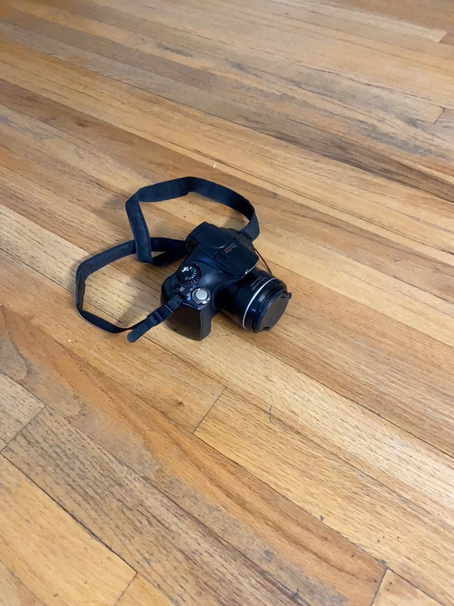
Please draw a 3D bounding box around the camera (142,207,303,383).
[{"bbox_3d":[-0.002,-0.010,0.509,0.120,0.109,0.110,30,59,23],"label":"camera"}]
